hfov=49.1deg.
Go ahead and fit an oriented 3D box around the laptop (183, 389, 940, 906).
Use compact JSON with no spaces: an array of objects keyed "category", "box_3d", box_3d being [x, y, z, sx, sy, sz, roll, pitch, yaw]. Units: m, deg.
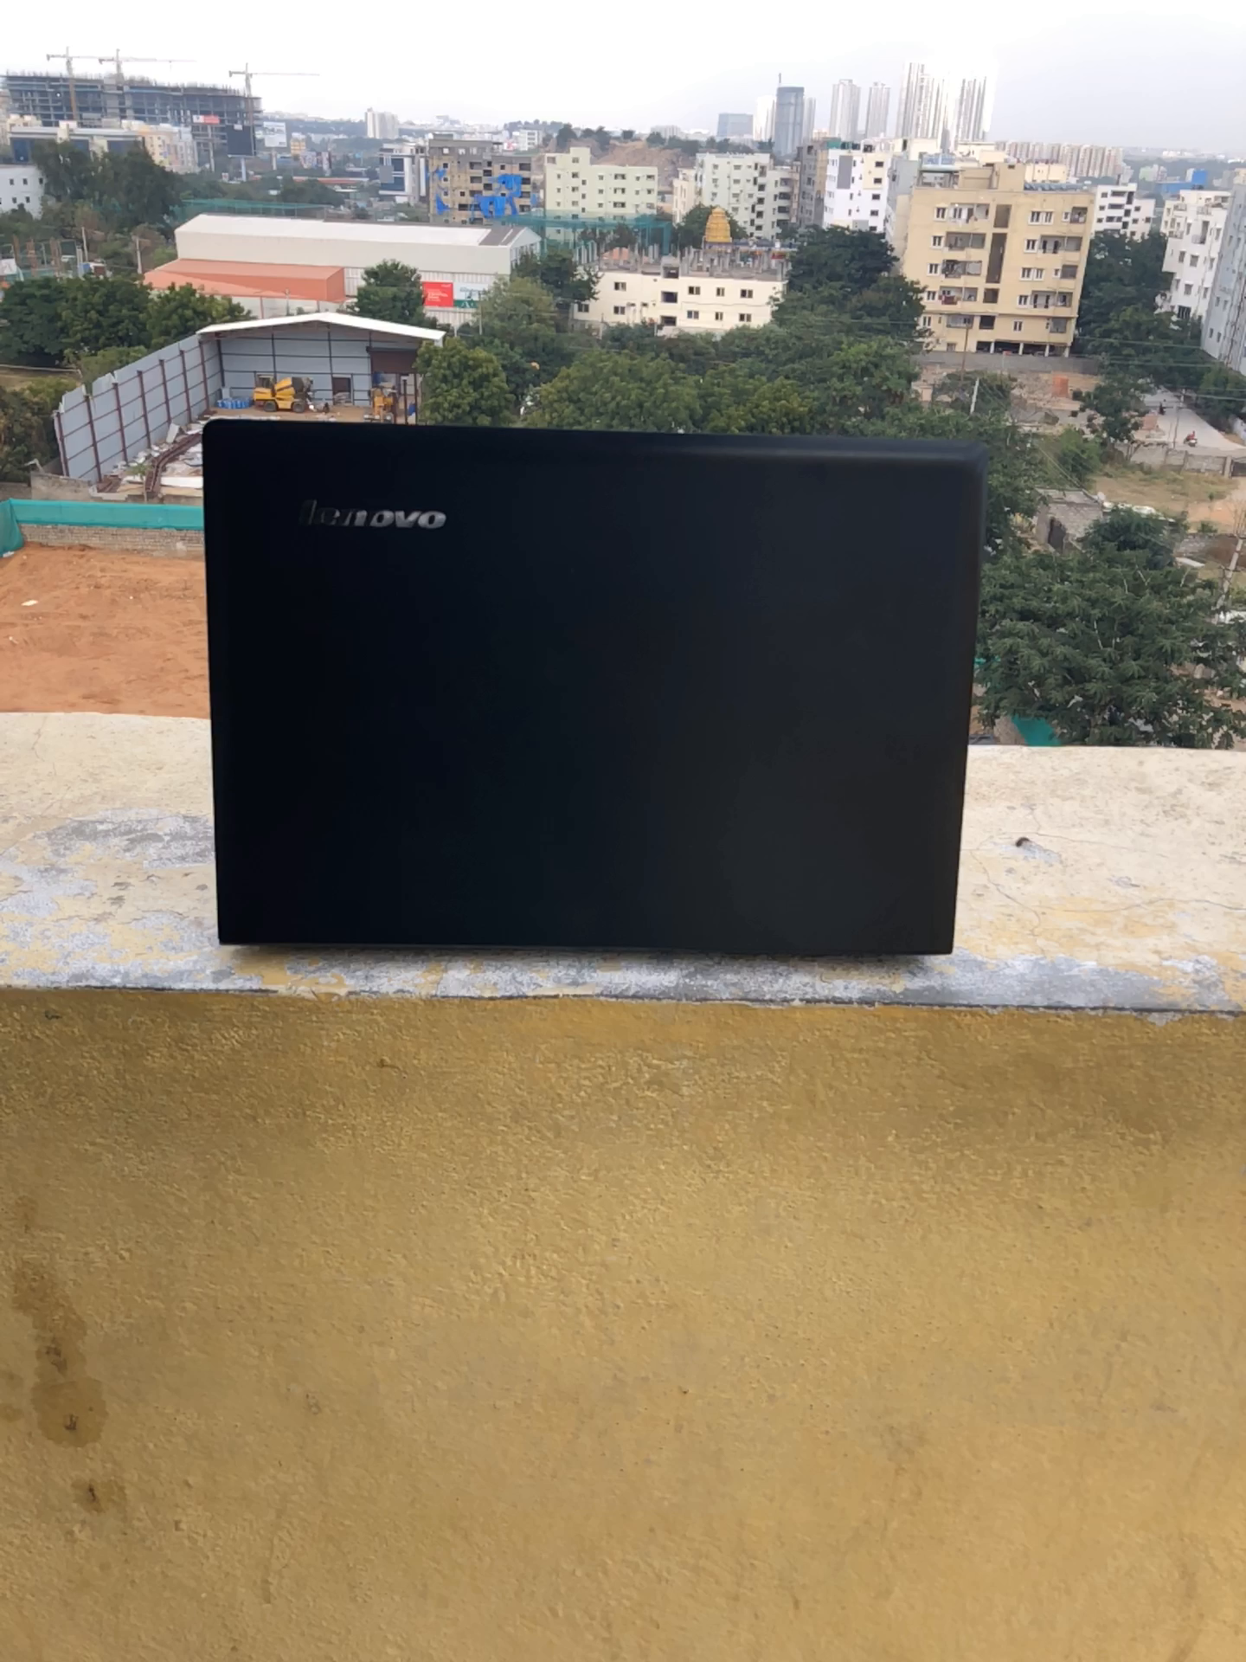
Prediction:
[{"category":"laptop","box_3d":[-0.032,-0.115,0.762,0.333,0.223,0.246,0,26,-1]}]
